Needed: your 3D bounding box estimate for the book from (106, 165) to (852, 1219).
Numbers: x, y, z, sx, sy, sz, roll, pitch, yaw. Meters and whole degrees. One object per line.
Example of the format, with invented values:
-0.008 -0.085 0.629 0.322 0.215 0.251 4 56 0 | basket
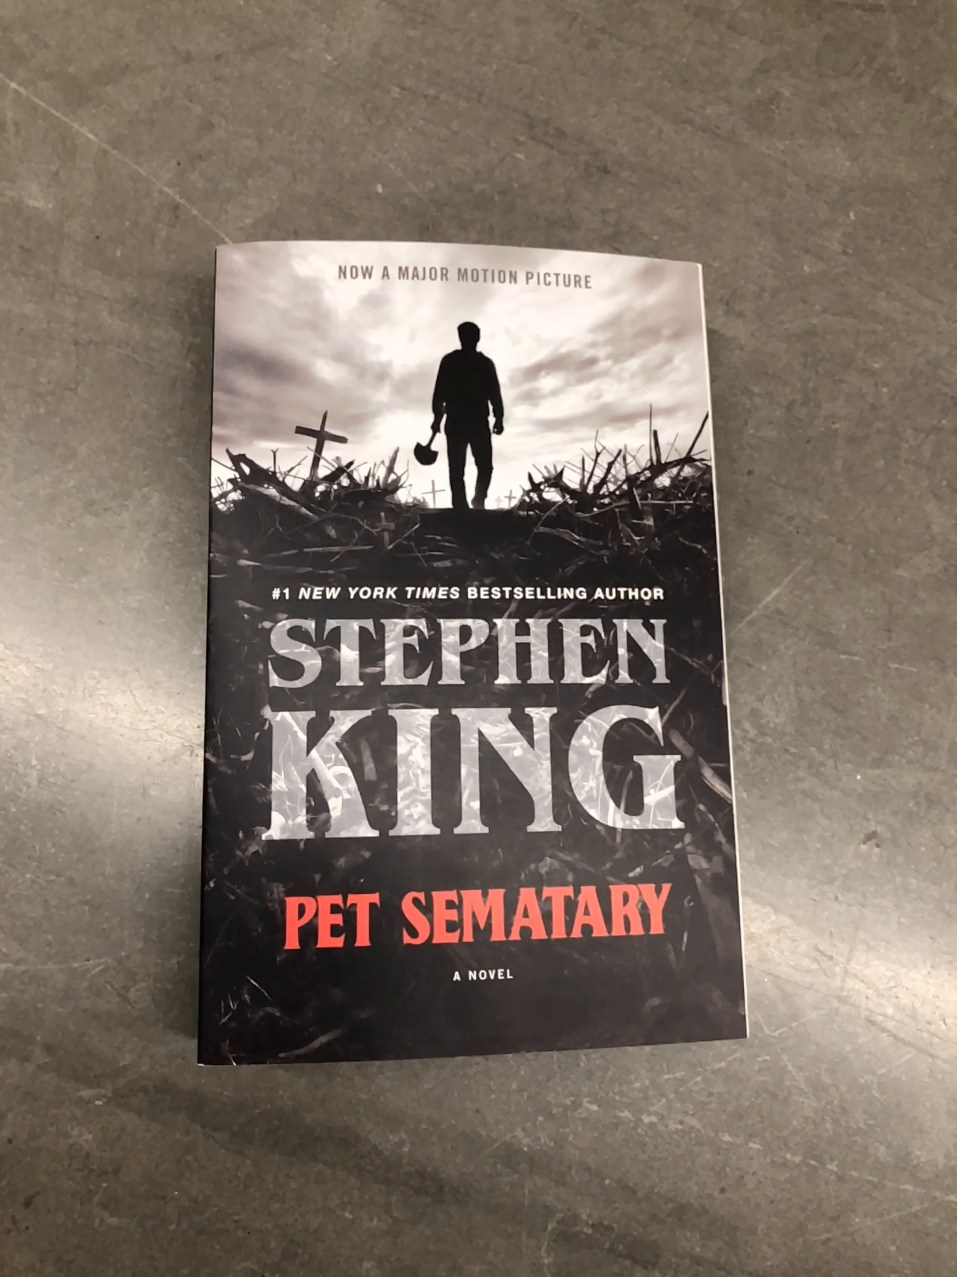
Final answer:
-0.004 0.006 0.261 0.160 0.050 0.220 -1 82 -12 | book
